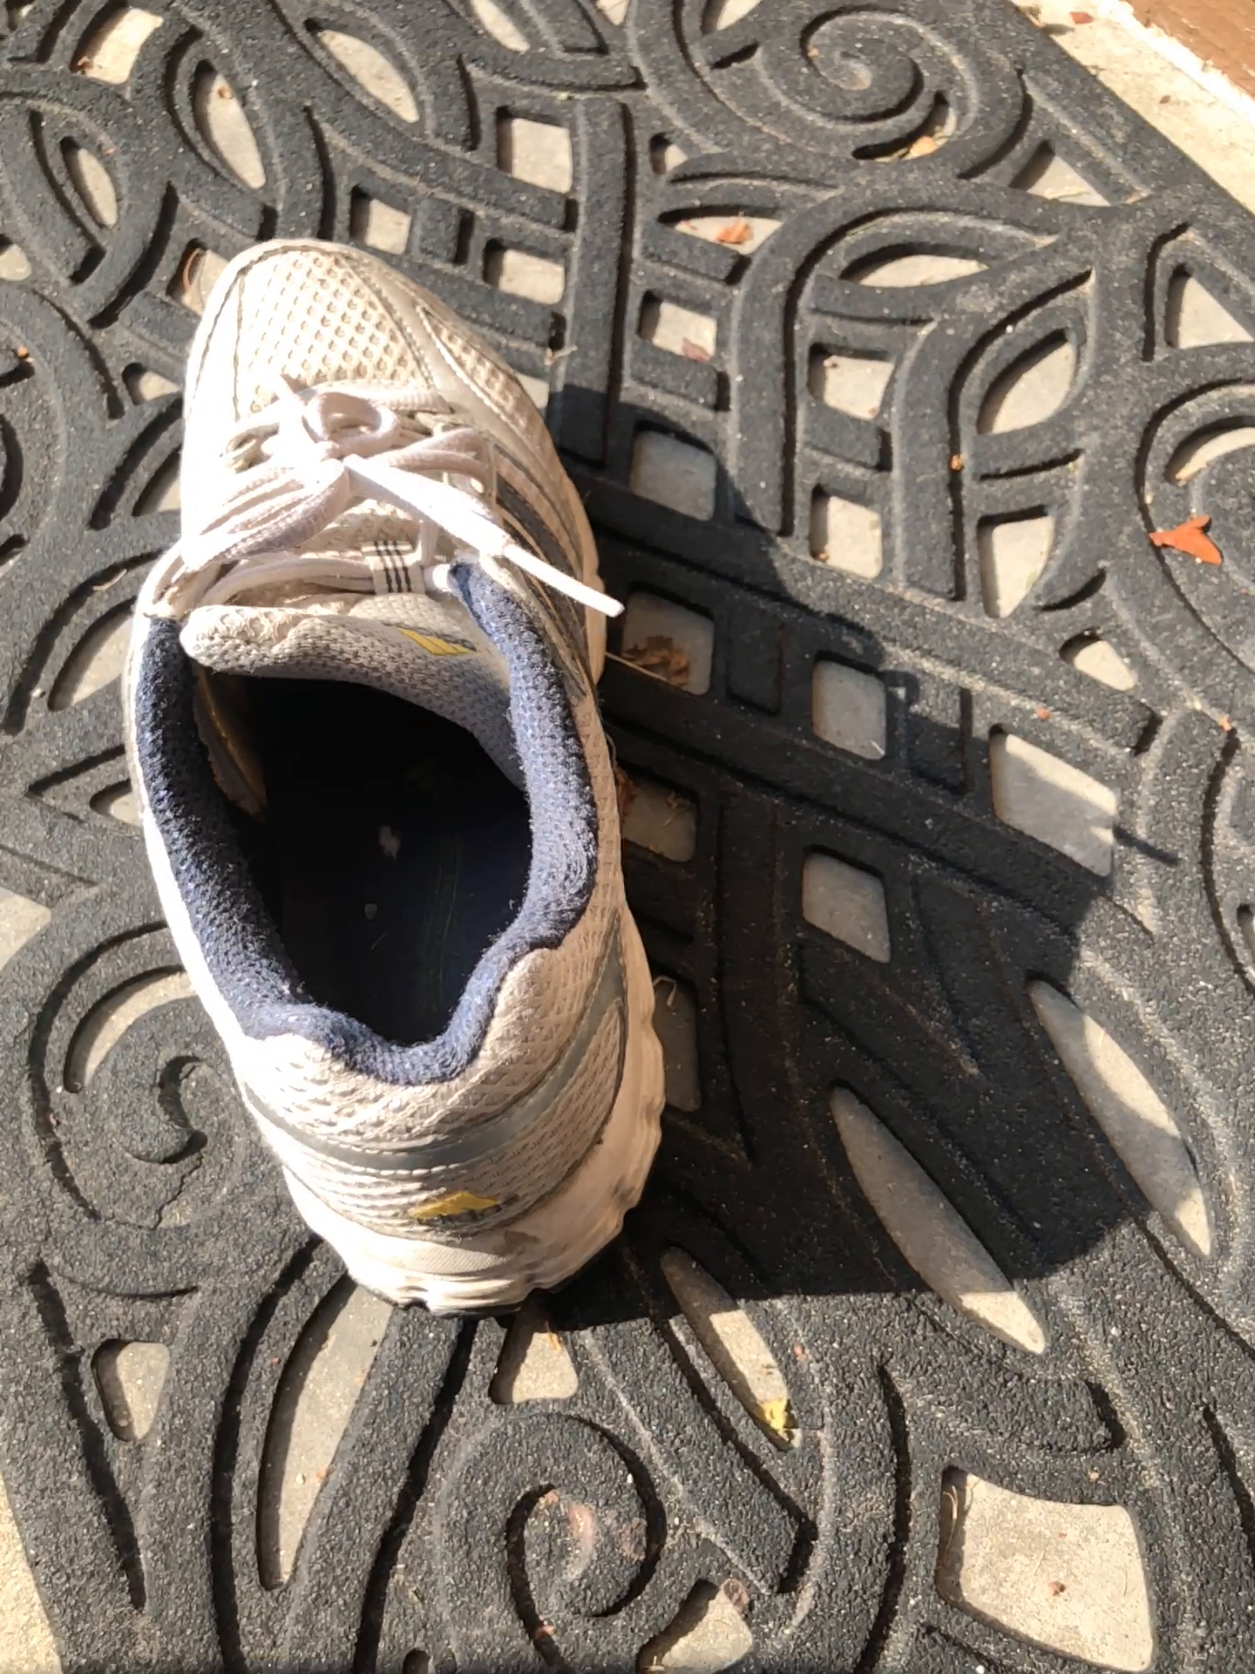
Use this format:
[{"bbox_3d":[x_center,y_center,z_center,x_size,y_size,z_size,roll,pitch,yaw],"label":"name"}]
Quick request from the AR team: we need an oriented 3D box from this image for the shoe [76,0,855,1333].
[{"bbox_3d":[-0.039,-0.046,0.302,0.100,0.130,0.260,-12,63,-1],"label":"shoe"}]
